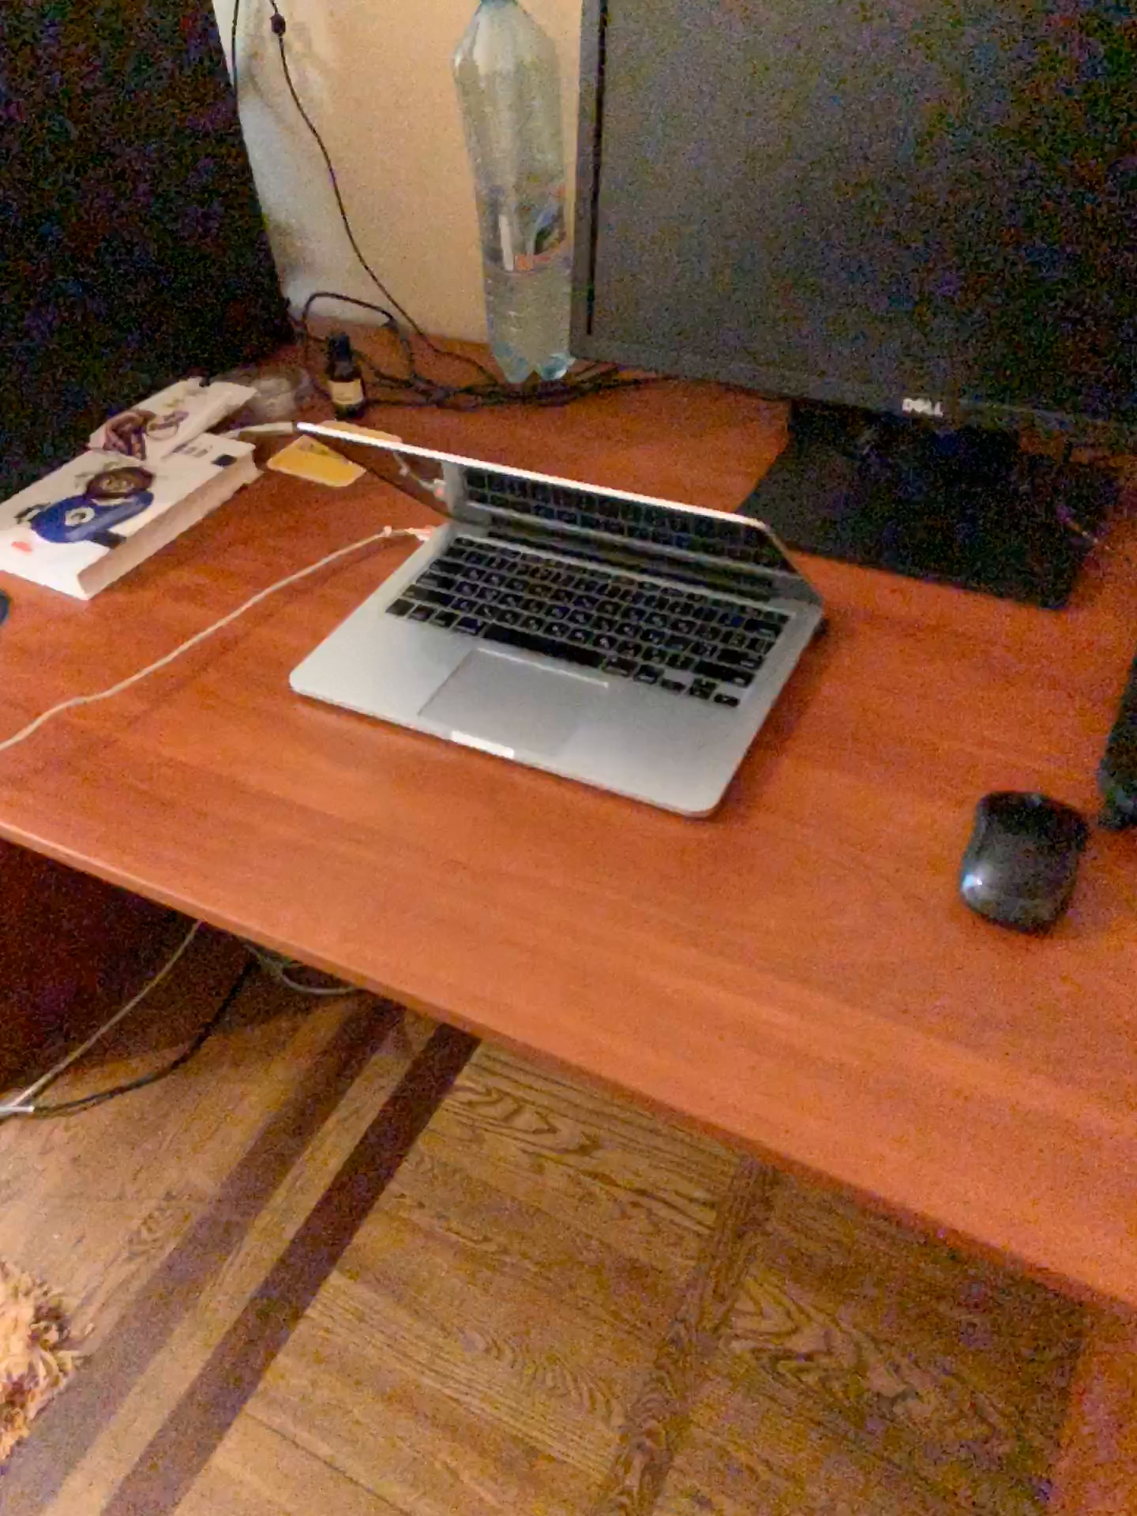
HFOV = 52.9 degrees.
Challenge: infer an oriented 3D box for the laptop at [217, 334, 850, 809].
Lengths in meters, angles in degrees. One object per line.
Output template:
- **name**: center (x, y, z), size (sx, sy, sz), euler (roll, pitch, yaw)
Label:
- **laptop**: center (-0.013, -0.131, 0.719), size (0.303, 0.150, 0.208), euler (17, 48, 21)
